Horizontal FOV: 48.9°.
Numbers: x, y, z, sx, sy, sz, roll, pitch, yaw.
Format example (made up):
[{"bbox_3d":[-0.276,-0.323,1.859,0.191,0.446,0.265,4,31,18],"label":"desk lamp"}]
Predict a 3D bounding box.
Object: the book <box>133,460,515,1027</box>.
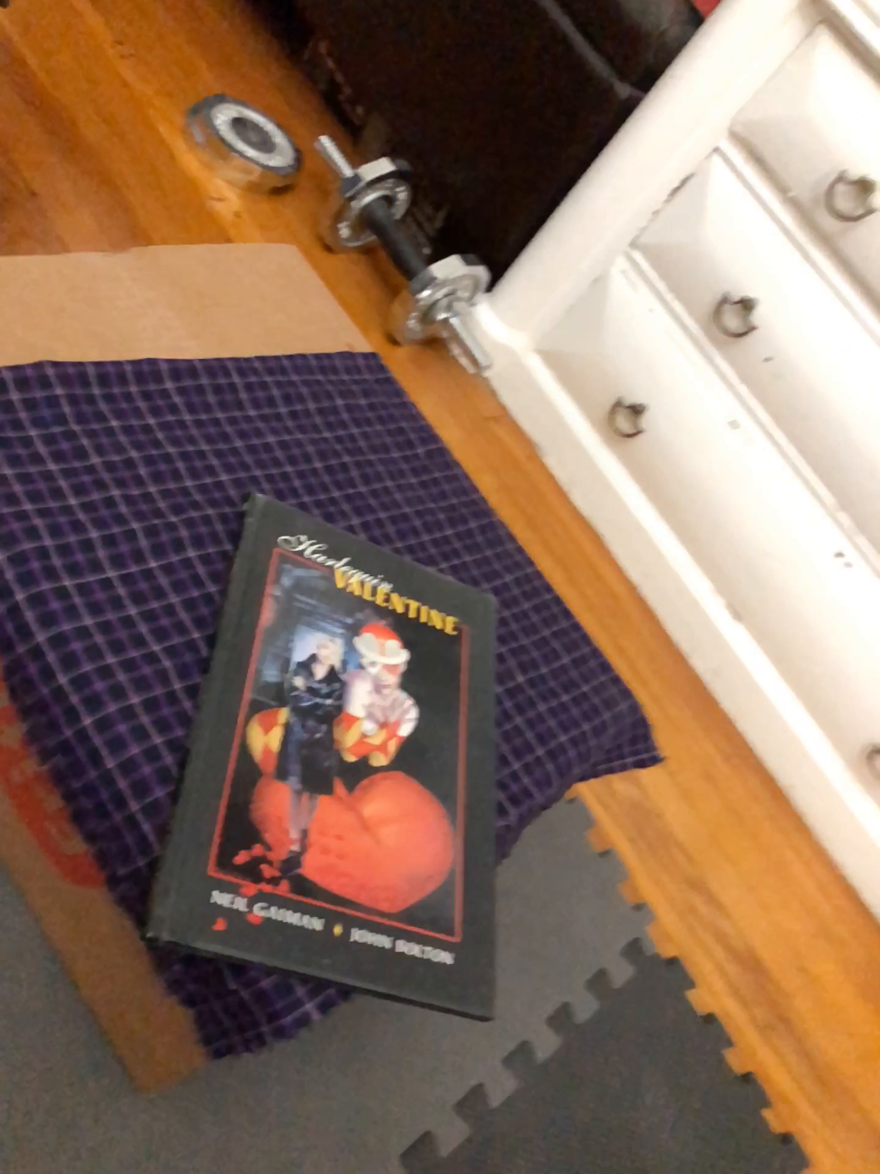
[{"bbox_3d":[-0.043,0.070,0.521,0.180,0.020,0.281,23,45,-24],"label":"book"}]
